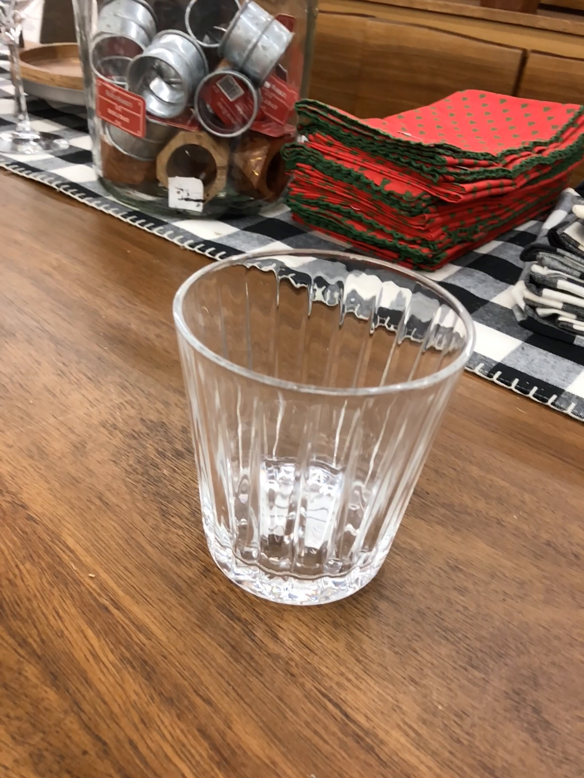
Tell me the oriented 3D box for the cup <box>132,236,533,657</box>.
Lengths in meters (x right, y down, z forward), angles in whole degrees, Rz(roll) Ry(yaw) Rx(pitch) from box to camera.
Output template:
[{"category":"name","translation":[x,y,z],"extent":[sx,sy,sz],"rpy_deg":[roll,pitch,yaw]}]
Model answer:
[{"category":"cup","translation":[0.007,0.013,0.232],"extent":[0.093,0.093,0.090],"rpy_deg":[3,35,-2]}]
